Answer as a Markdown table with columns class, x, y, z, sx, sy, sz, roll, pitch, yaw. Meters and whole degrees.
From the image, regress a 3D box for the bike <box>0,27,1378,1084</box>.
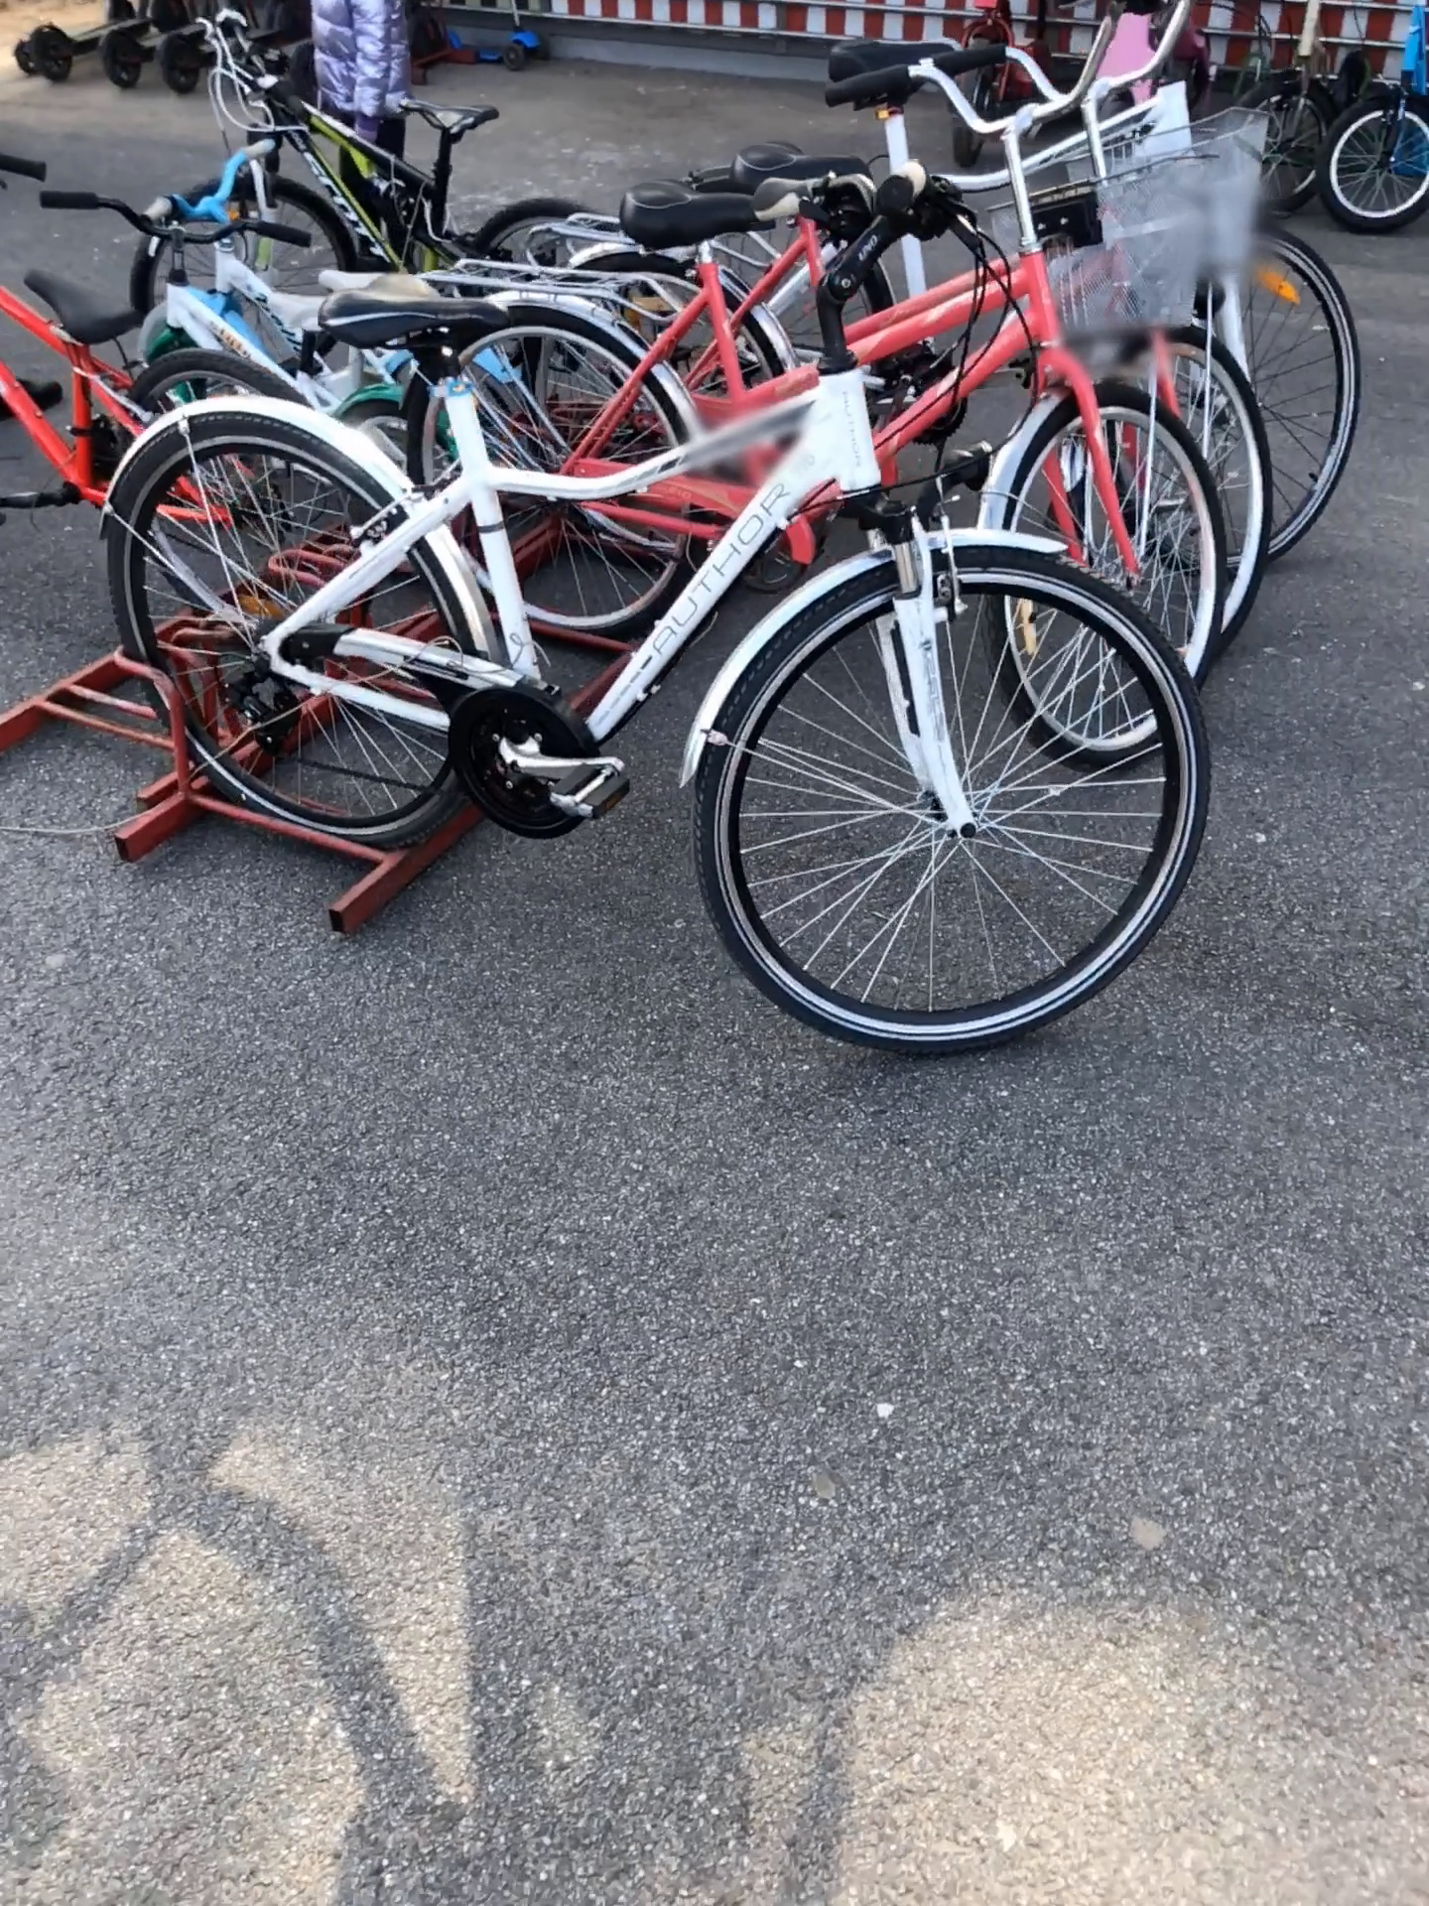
| class | x | y | z | sx | sy | sz | roll | pitch | yaw |
| --- | --- | --- | --- | --- | --- | --- | --- | --- | --- |
| bike | -0.134 | -0.588 | 2.193 | 1.698 | 1.112 | 0.647 | 11 | 42 | 15 |
